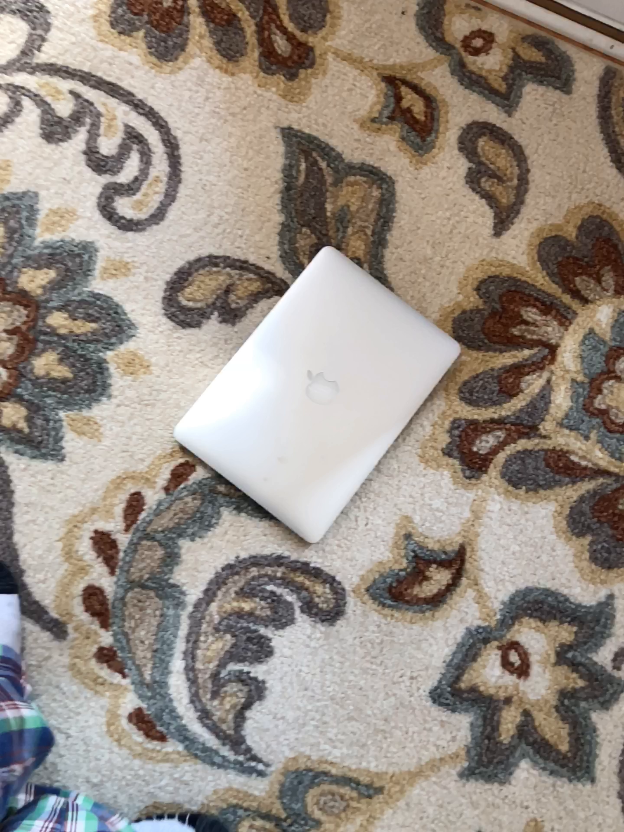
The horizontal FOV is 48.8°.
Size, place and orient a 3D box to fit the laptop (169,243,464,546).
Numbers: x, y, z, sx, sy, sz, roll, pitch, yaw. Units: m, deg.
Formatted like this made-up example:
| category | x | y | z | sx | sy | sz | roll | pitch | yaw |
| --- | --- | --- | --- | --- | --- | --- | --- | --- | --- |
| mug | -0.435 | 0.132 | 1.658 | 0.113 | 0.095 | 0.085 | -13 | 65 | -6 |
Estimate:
| category | x | y | z | sx | sy | sz | roll | pitch | yaw |
| --- | --- | --- | --- | --- | --- | --- | --- | --- | --- |
| laptop | 0.010 | -0.030 | 0.802 | 0.207 | 0.001 | 0.295 | 38 | 81 | 1 |
